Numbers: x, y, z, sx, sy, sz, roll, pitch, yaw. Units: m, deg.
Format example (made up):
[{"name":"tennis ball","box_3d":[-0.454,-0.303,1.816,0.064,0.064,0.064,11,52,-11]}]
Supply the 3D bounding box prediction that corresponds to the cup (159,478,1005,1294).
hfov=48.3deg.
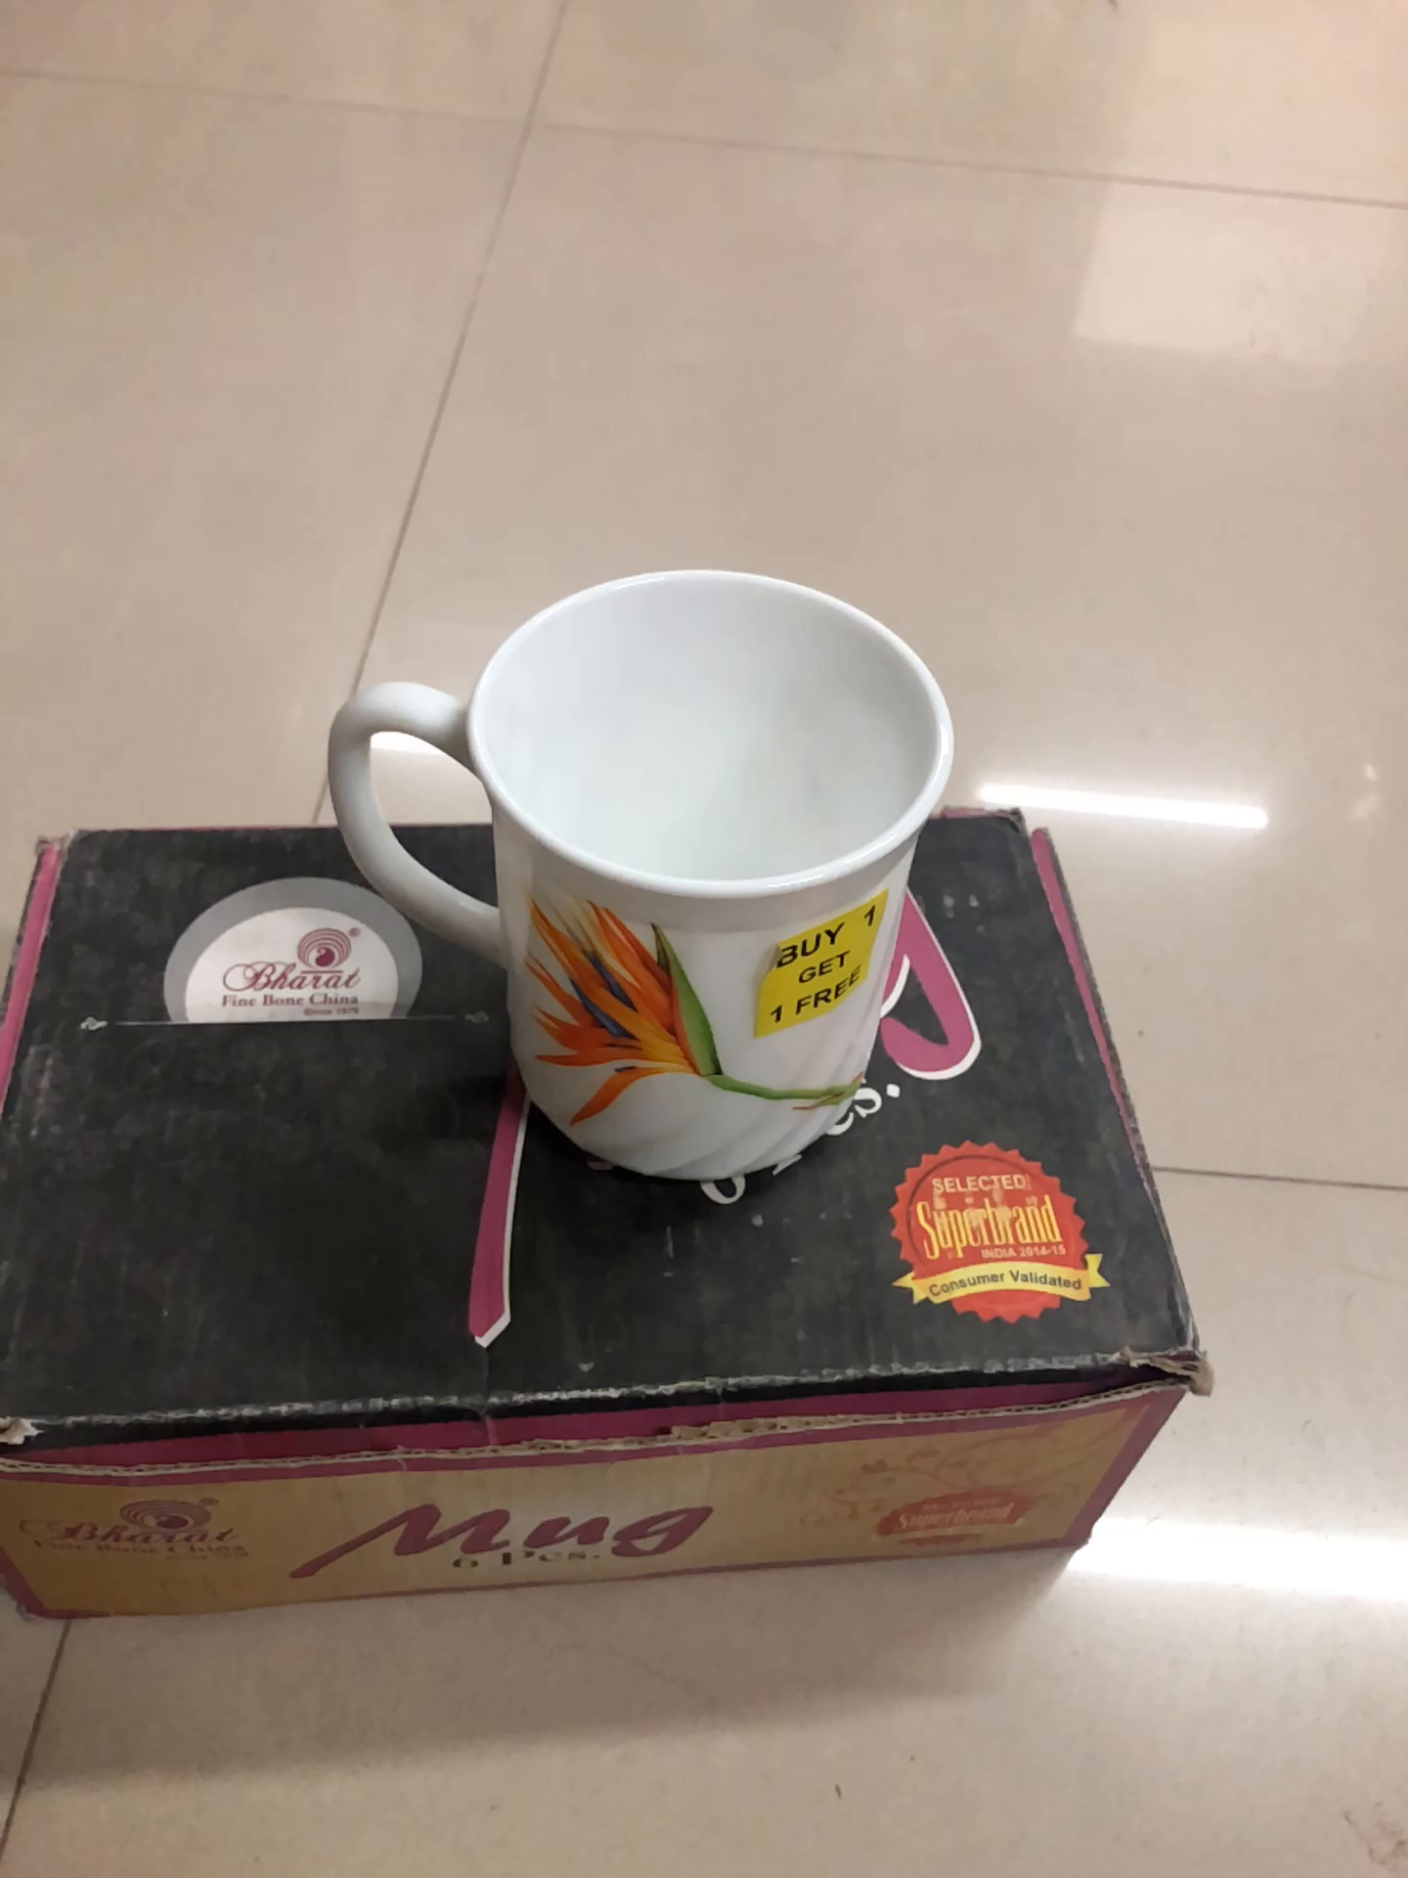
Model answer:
[{"name":"cup","box_3d":[-0.017,-0.009,0.275,0.110,0.089,0.080,14,49,7]}]
